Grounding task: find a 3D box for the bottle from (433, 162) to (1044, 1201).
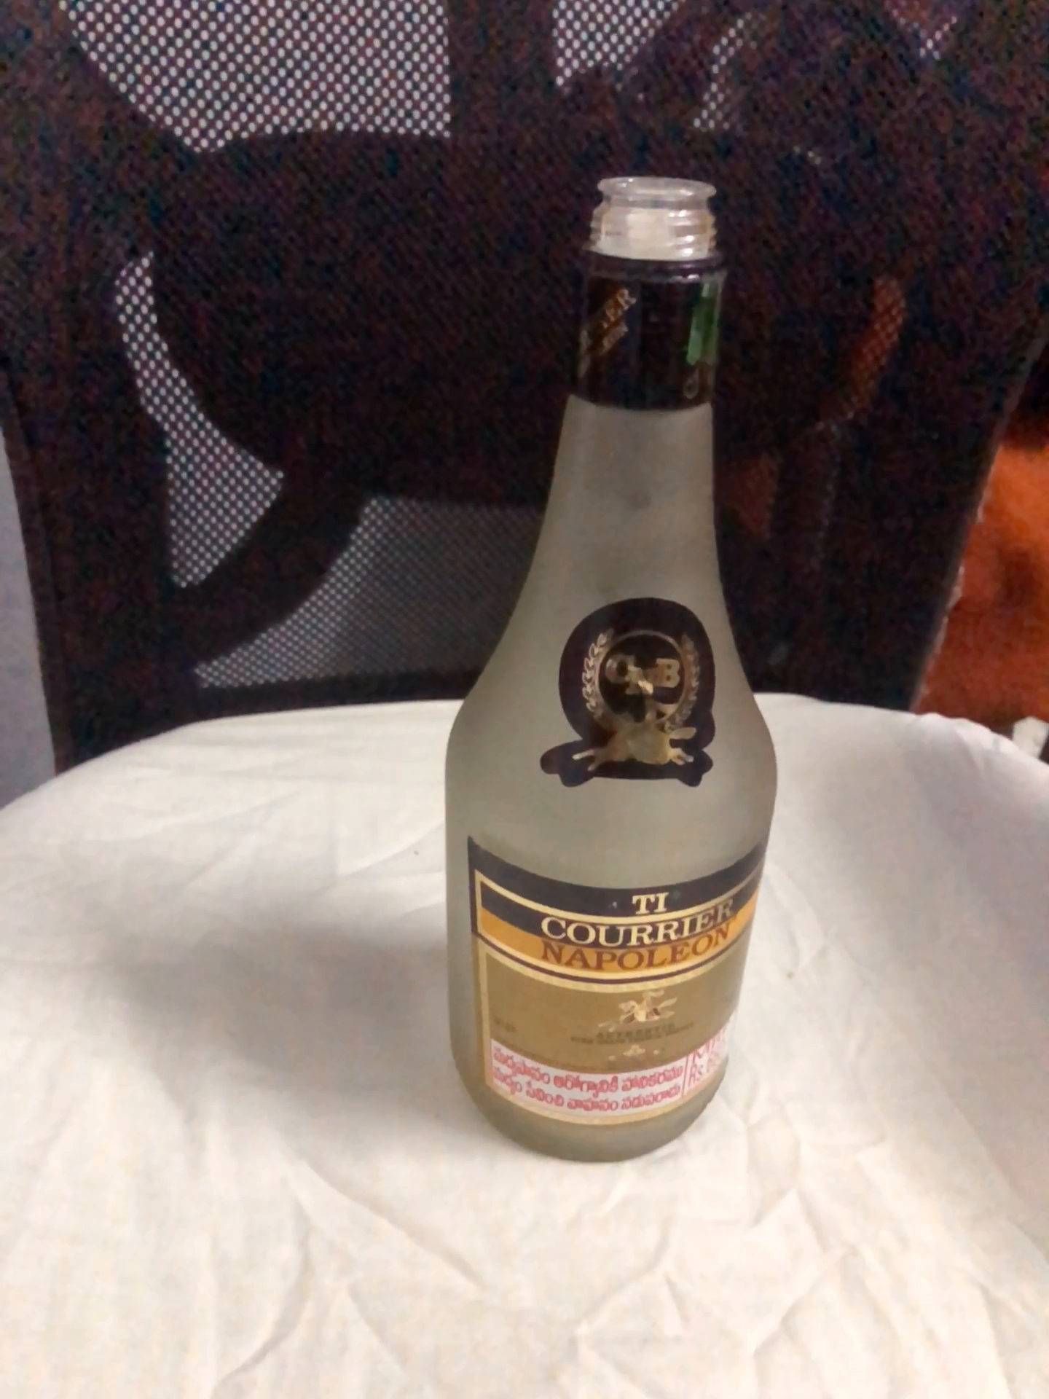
[{"bbox_3d":[0.030,0.007,0.285,0.090,0.239,0.080,-2,31,-10],"label":"bottle"}]
